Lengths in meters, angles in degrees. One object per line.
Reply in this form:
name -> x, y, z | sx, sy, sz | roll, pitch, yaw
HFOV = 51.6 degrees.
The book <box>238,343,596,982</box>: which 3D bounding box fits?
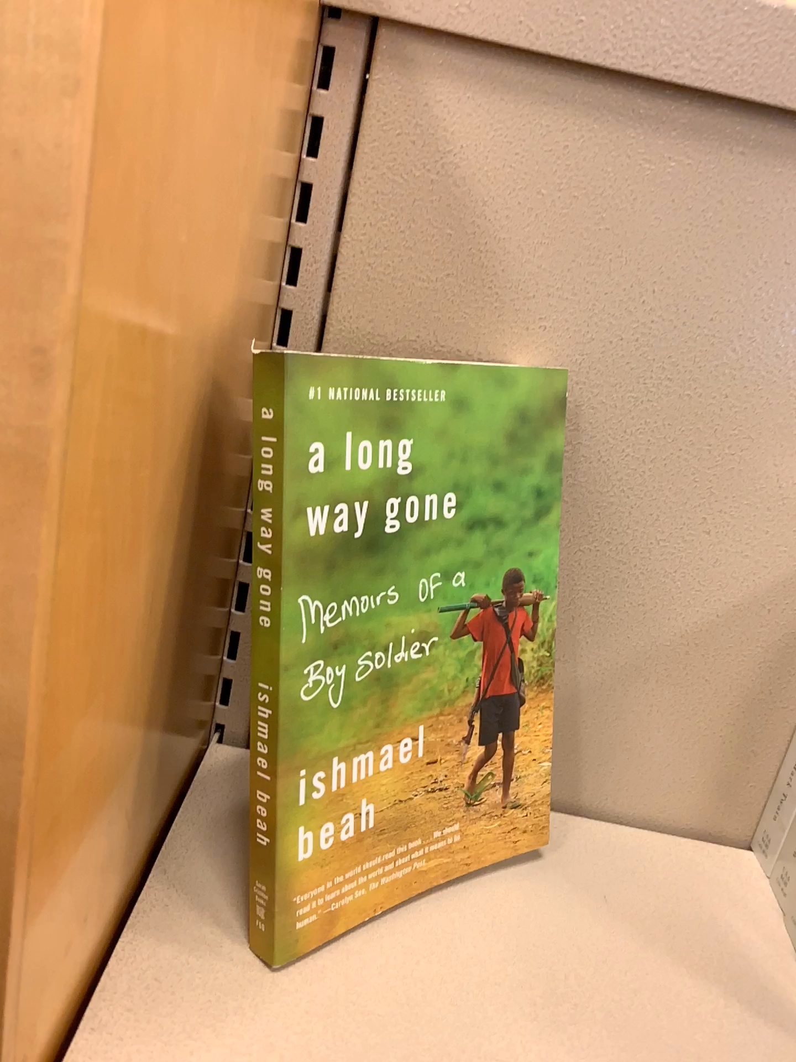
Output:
book -> 0.010, 0.041, 0.308 | 0.140, 0.210, 0.020 | -5, 13, -37
